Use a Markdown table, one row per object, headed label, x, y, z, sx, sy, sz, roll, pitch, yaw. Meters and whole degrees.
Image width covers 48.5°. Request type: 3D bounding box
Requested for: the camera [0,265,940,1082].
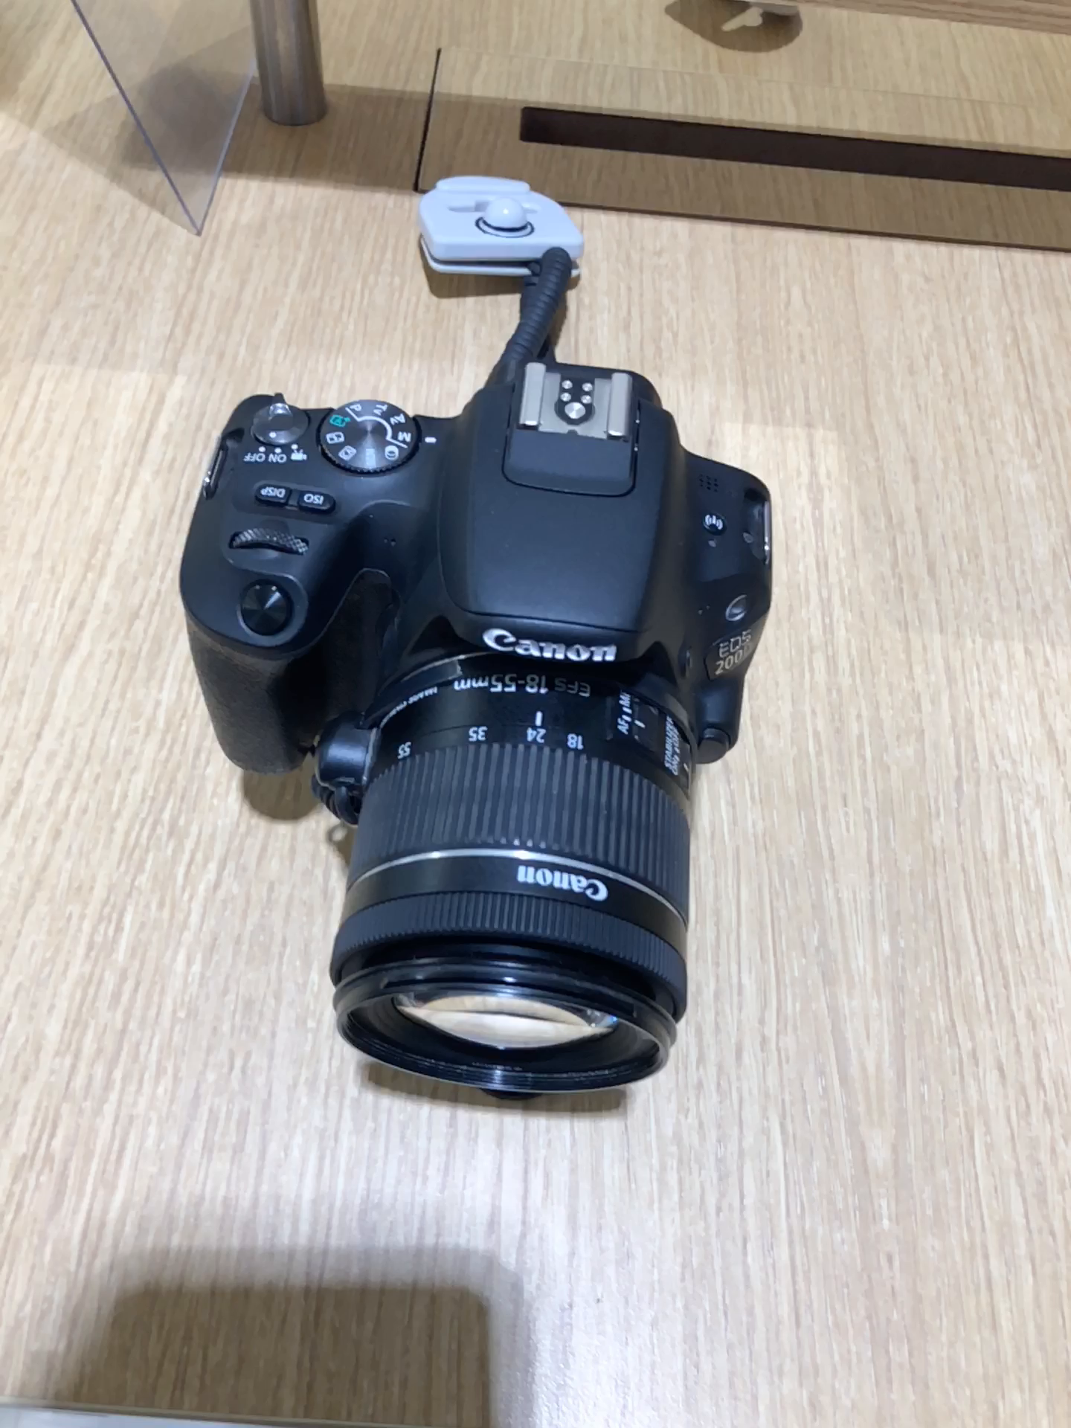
| label | x | y | z | sx | sy | sz | roll | pitch | yaw |
| --- | --- | --- | --- | --- | --- | --- | --- | --- | --- |
| camera | -0.010 | -0.006 | 0.220 | 0.130 | 0.080 | 0.115 | 5 | 58 | -1 |
